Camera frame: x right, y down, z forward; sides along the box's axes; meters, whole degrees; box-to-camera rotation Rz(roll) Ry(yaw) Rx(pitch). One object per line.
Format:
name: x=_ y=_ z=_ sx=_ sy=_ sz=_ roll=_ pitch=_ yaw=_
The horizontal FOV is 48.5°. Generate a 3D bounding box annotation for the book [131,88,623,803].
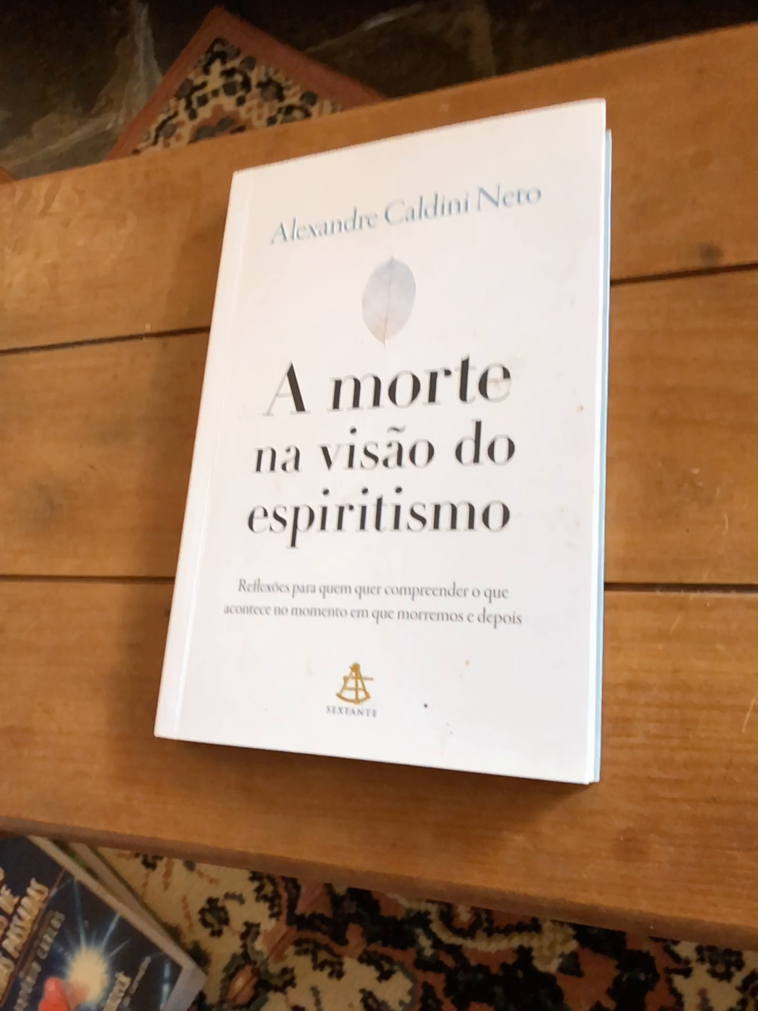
book: x=0.001 y=-0.022 z=0.256 sx=0.135 sy=0.020 sz=0.196 roll=-1 pitch=75 yaw=24
